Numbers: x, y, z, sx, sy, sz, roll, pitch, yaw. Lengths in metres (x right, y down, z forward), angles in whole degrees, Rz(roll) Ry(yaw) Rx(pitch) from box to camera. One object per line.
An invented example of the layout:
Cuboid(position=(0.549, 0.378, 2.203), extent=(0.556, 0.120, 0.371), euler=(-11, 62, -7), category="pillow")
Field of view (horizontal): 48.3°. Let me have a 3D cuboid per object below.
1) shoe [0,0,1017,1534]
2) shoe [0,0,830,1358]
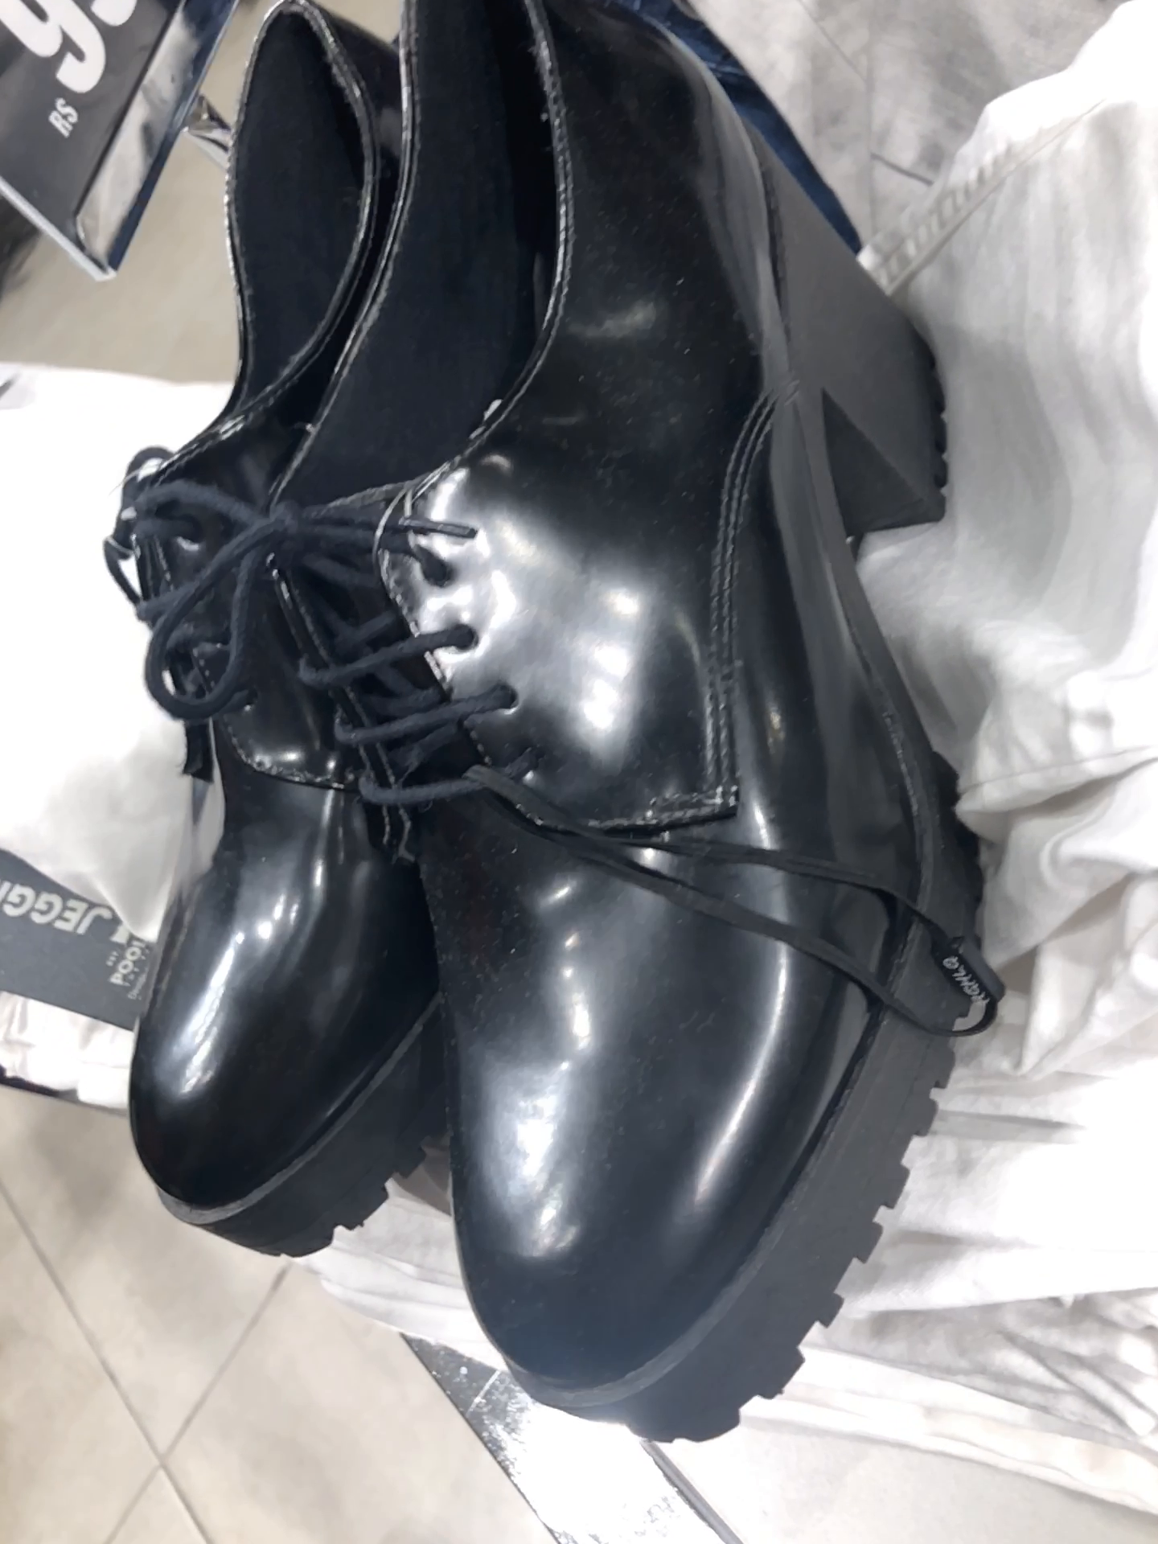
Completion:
Cuboid(position=(-0.001, -0.021, 0.247), extent=(0.100, 0.149, 0.260), euler=(-9, 56, 38), category="shoe")
Cuboid(position=(-0.053, -0.029, 0.302), extent=(0.100, 0.159, 0.260), euler=(0, 61, 41), category="shoe")
